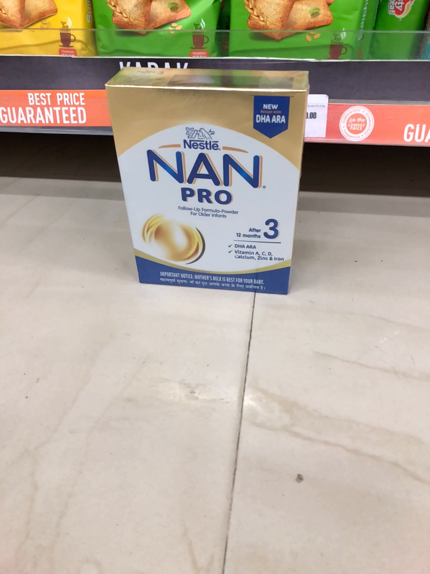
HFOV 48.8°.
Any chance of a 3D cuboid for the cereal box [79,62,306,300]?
[{"bbox_3d":[-0.012,-0.084,0.408,0.160,0.189,0.050,4,40,7],"label":"cereal box"}]
